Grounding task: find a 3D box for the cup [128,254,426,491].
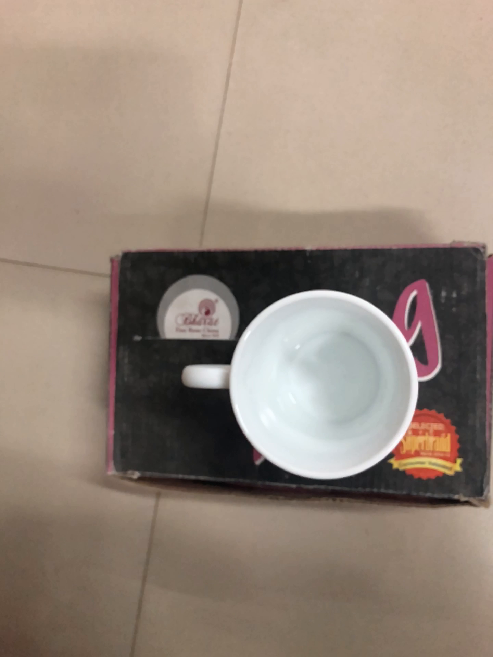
[{"bbox_3d":[0.019,0.017,0.276,0.120,0.090,0.090,3,88,12],"label":"cup"}]
